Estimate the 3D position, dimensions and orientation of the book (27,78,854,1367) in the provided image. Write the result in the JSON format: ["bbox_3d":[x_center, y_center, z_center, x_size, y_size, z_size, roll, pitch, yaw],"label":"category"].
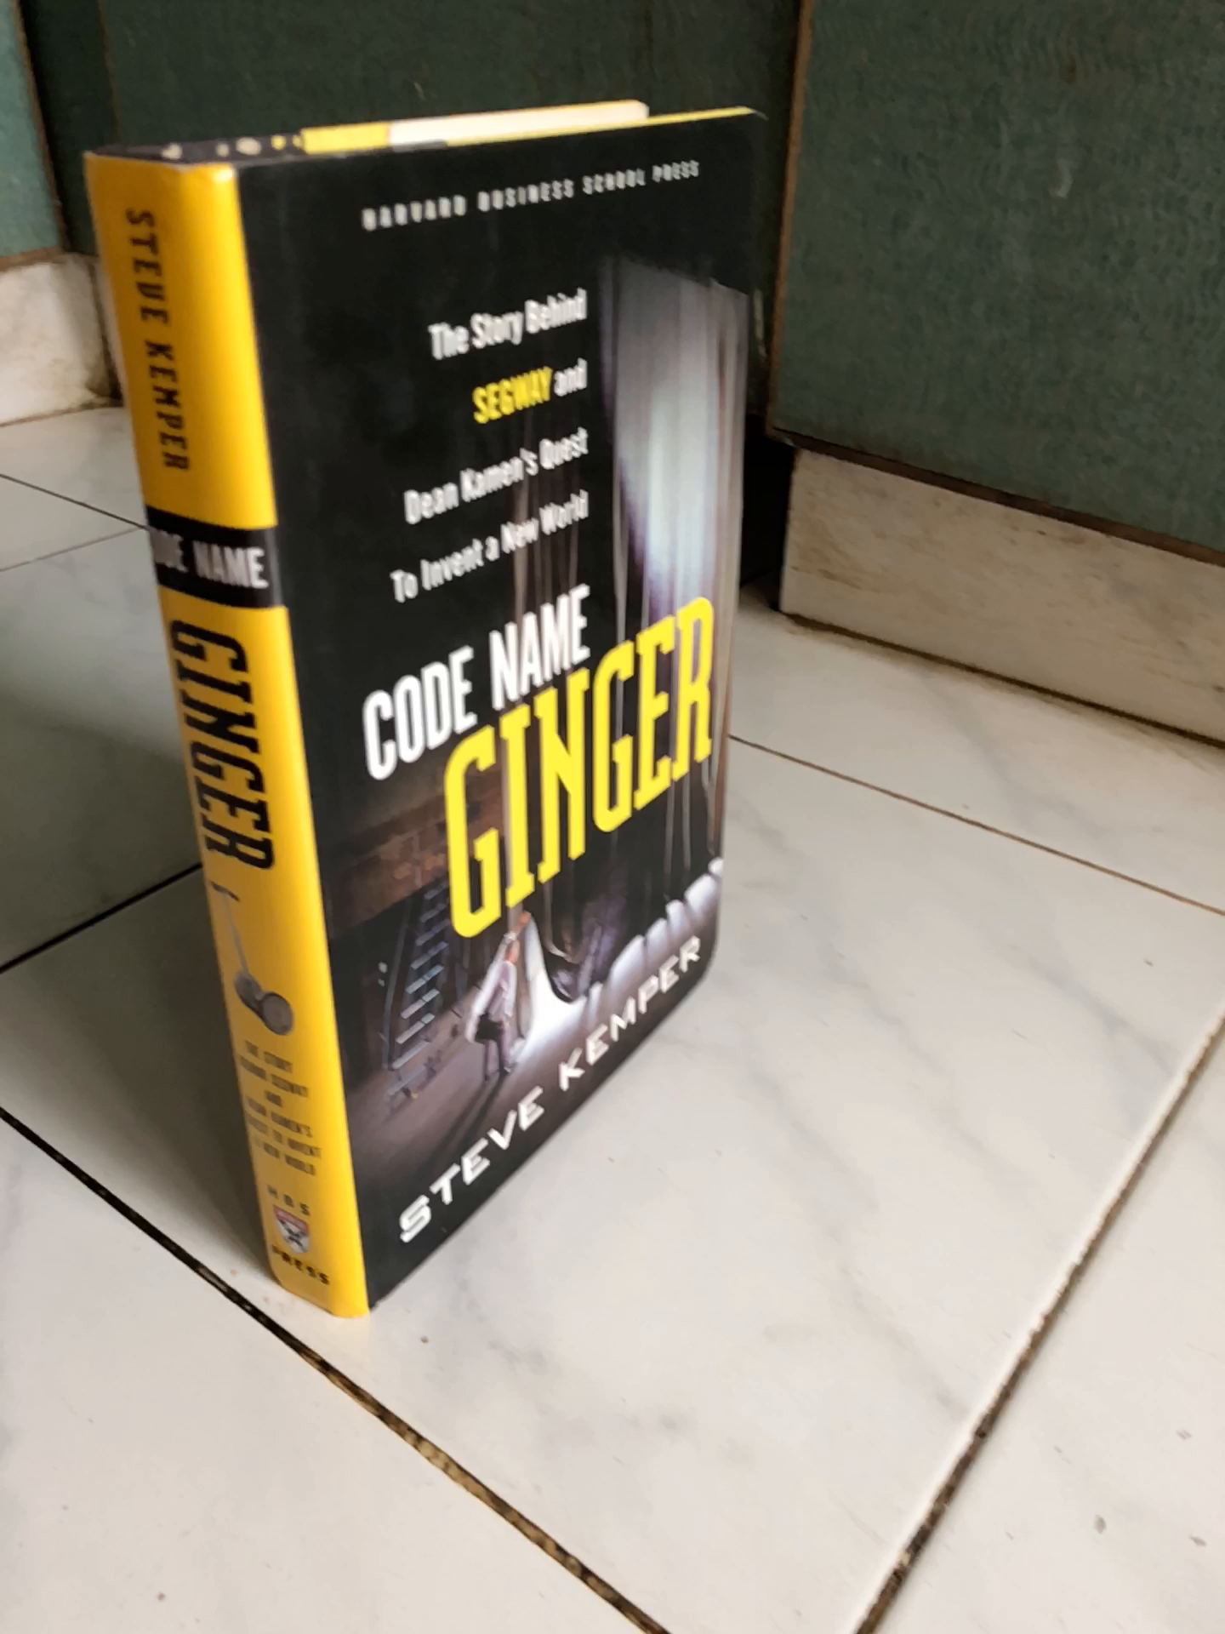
[{"bbox_3d":[-0.015,-0.030,0.313,0.040,0.239,0.191,19,35,28],"label":"book"}]
